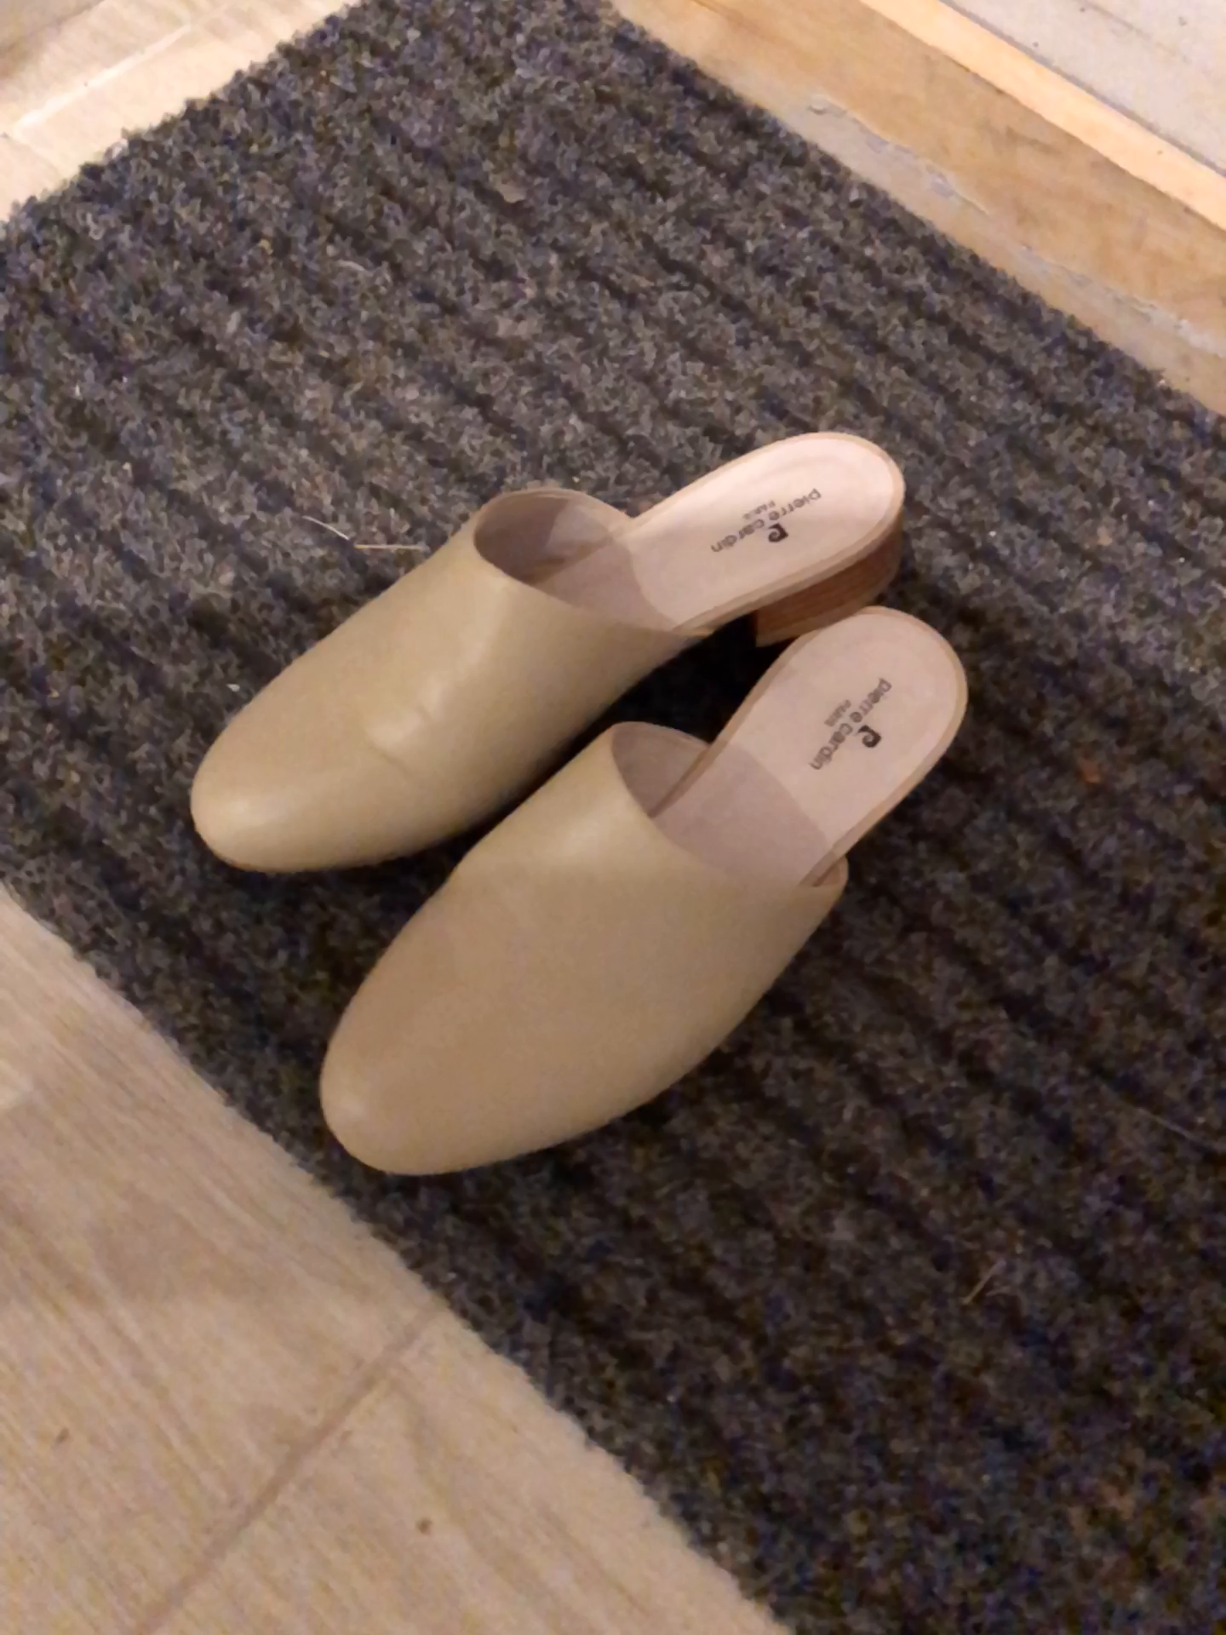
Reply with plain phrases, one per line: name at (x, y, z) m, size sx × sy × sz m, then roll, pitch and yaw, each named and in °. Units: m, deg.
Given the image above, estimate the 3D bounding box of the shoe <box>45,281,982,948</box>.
shoe at (-0.024, -0.066, 0.409) m, size 0.250 × 0.070 × 0.090 m, roll -27°, pitch 71°, yaw -16°

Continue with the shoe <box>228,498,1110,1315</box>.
shoe at (0.023, 0.020, 0.399) m, size 0.251 × 0.070 × 0.090 m, roll -39°, pitch 75°, yaw -20°
